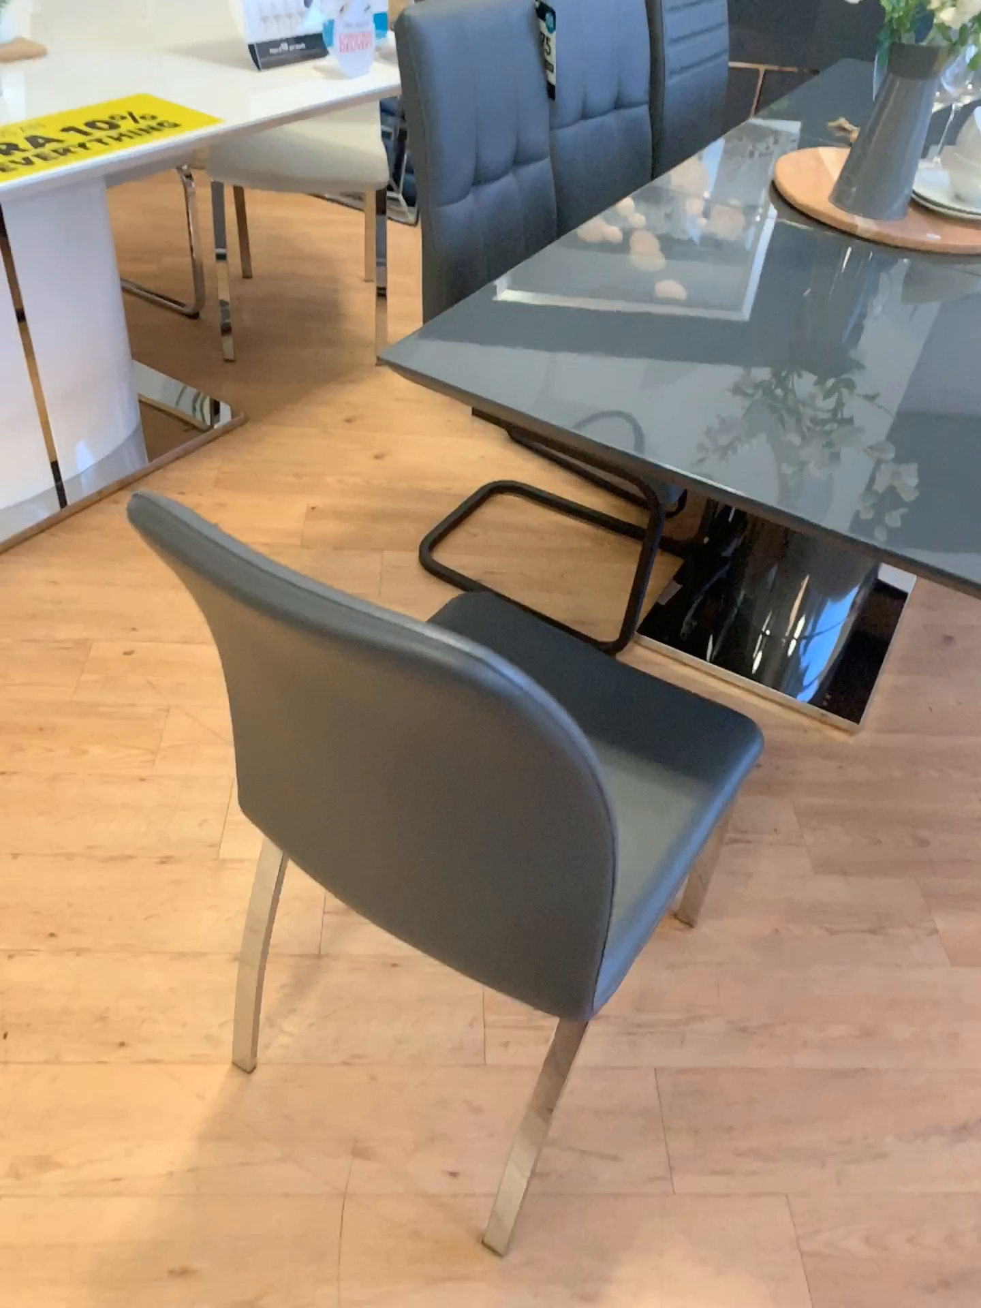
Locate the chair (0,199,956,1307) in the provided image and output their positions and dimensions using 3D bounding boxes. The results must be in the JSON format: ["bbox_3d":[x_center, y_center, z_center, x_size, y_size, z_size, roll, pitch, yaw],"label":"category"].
[{"bbox_3d":[-0.002,0.127,1.045,0.481,0.892,0.644,26,46,20],"label":"chair"}]
